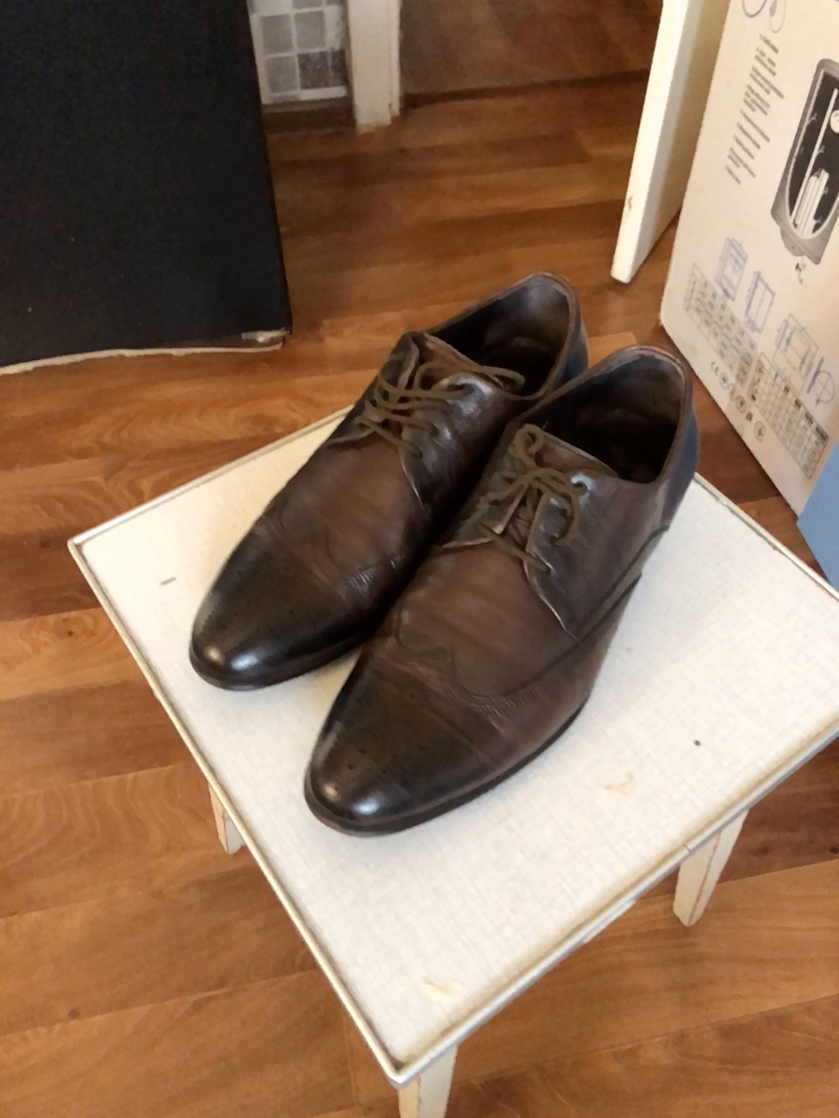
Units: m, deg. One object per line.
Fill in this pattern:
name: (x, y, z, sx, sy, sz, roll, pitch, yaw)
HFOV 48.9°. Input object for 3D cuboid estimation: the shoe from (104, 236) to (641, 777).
shoe: (-0.008, -0.042, 0.489, 0.100, 0.099, 0.291, 31, 59, 22)

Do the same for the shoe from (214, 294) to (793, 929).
shoe: (0.052, 0.008, 0.433, 0.100, 0.099, 0.291, 31, 59, 22)
